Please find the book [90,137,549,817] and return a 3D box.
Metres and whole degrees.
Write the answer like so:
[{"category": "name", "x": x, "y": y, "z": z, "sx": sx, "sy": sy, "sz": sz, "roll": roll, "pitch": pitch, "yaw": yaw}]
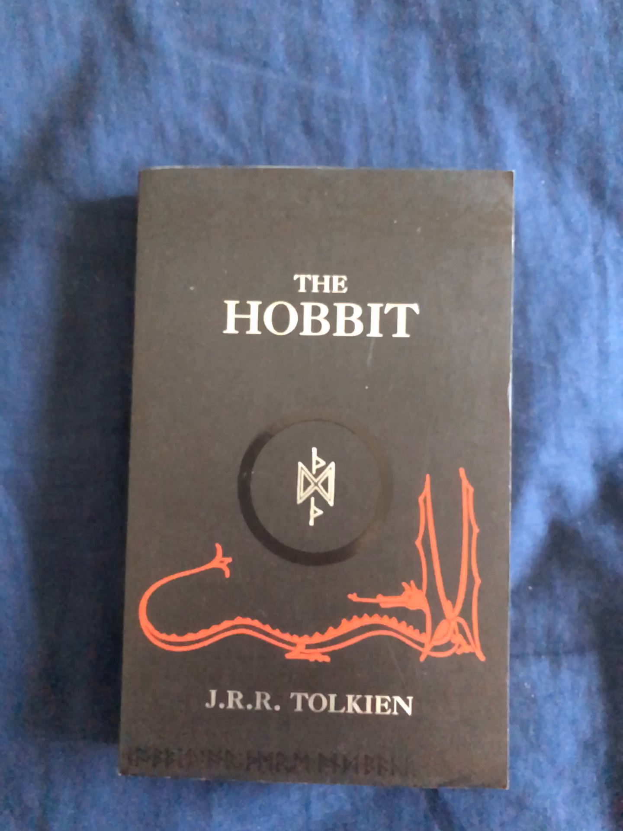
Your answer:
[{"category": "book", "x": 0.004, "y": 0.014, "z": 0.209, "sx": 0.120, "sy": 0.040, "sz": 0.180, "roll": 1, "pitch": 86, "yaw": 1}]
